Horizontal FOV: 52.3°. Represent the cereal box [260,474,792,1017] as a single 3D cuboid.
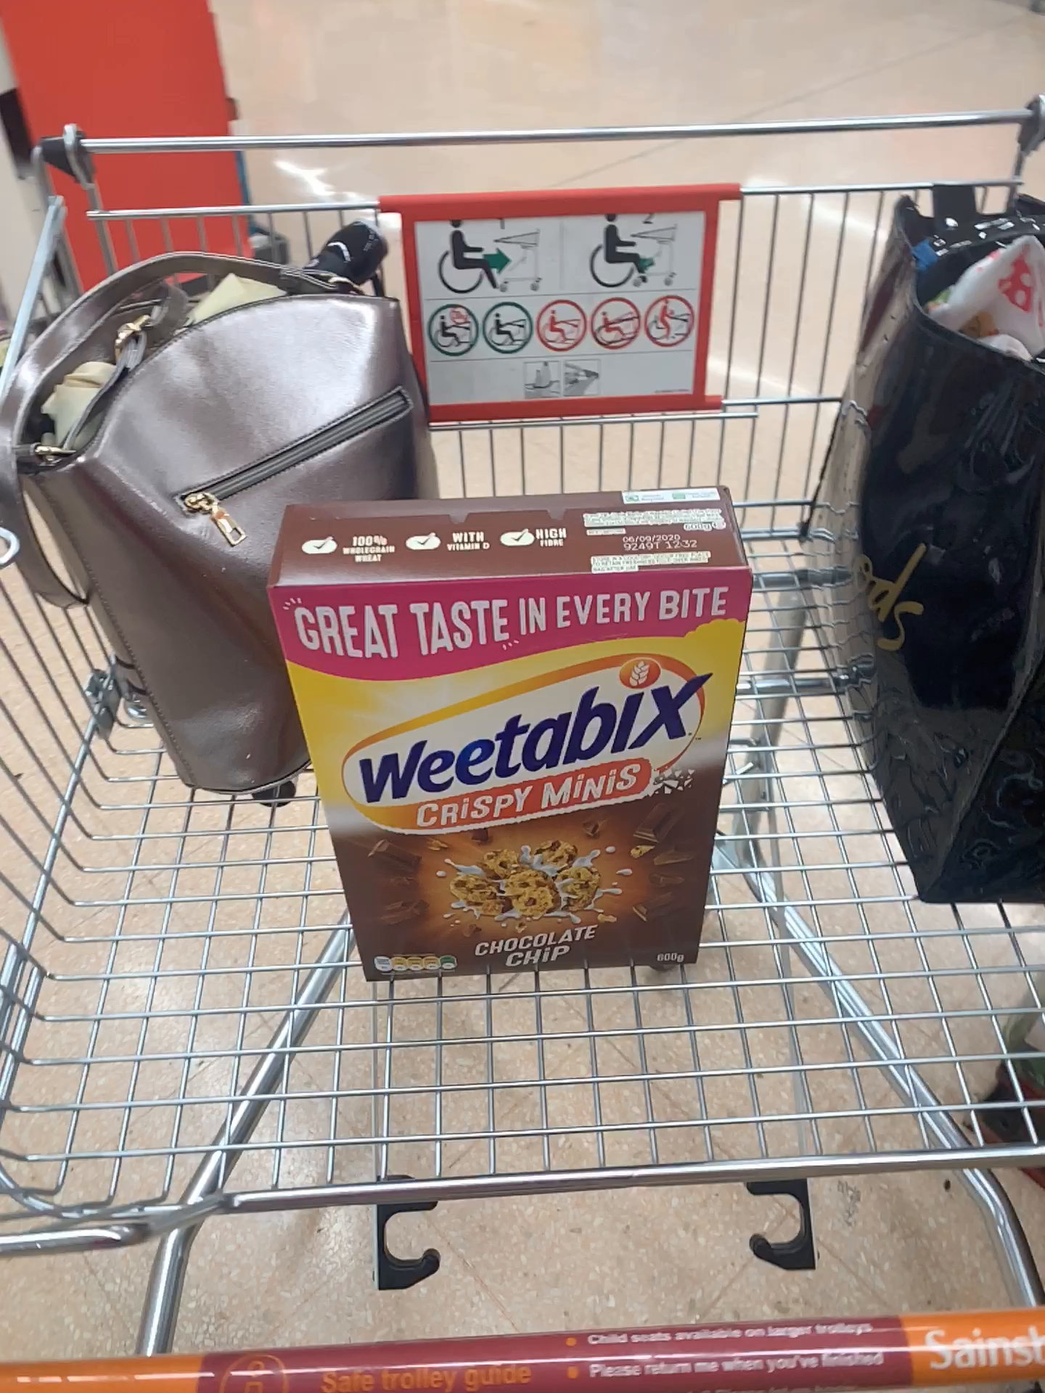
[{"bbox_3d":[0.001,0.047,0.559,0.210,0.327,0.071,-3,45,-3],"label":"cereal box"}]
